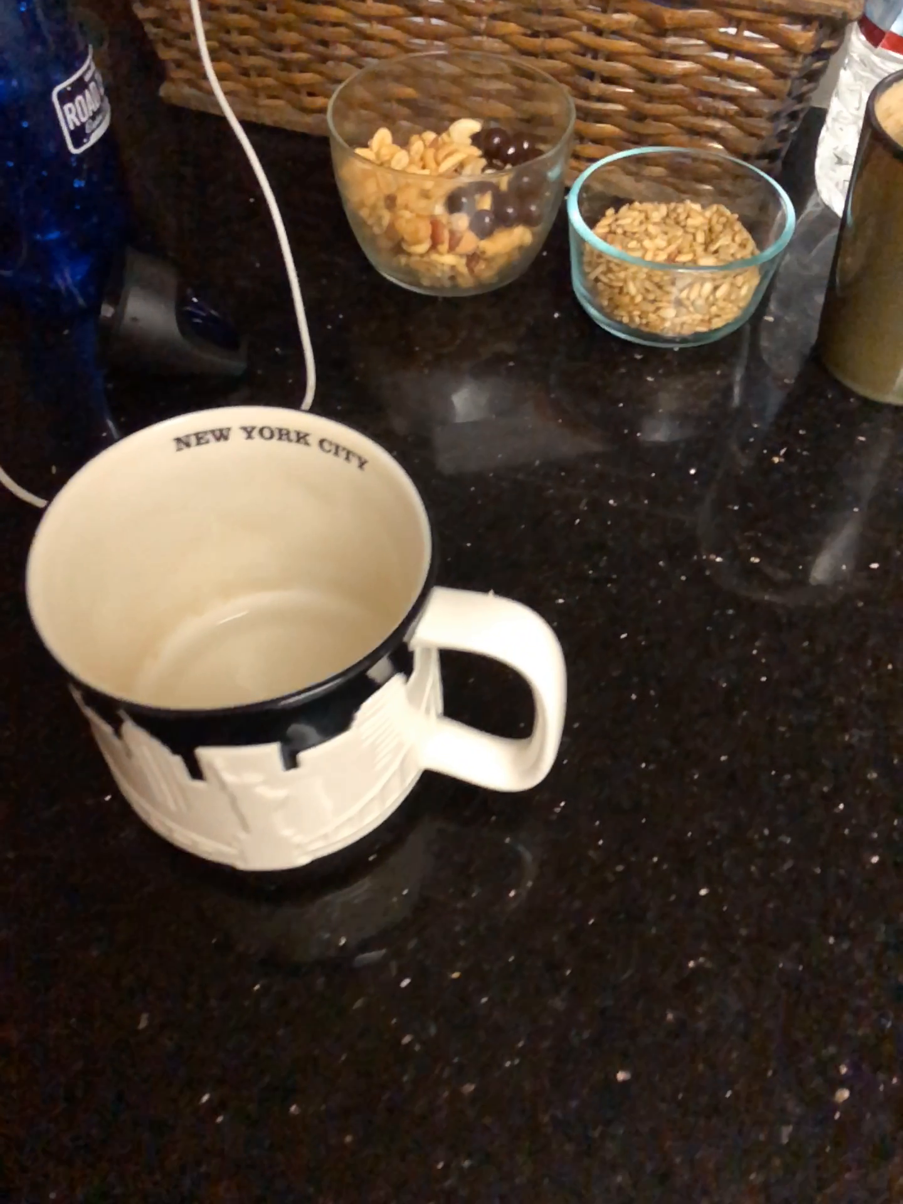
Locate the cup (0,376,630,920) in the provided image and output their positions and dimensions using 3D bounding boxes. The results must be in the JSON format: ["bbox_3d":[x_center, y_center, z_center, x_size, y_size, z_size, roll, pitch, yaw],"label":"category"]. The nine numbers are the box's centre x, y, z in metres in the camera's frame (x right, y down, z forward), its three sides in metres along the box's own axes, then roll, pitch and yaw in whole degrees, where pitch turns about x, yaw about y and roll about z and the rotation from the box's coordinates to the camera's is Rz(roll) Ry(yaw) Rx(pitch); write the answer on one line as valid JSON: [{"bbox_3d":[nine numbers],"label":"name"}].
[{"bbox_3d":[-0.032,0.012,0.294,0.150,0.090,0.110,7,53,6],"label":"cup"}]
